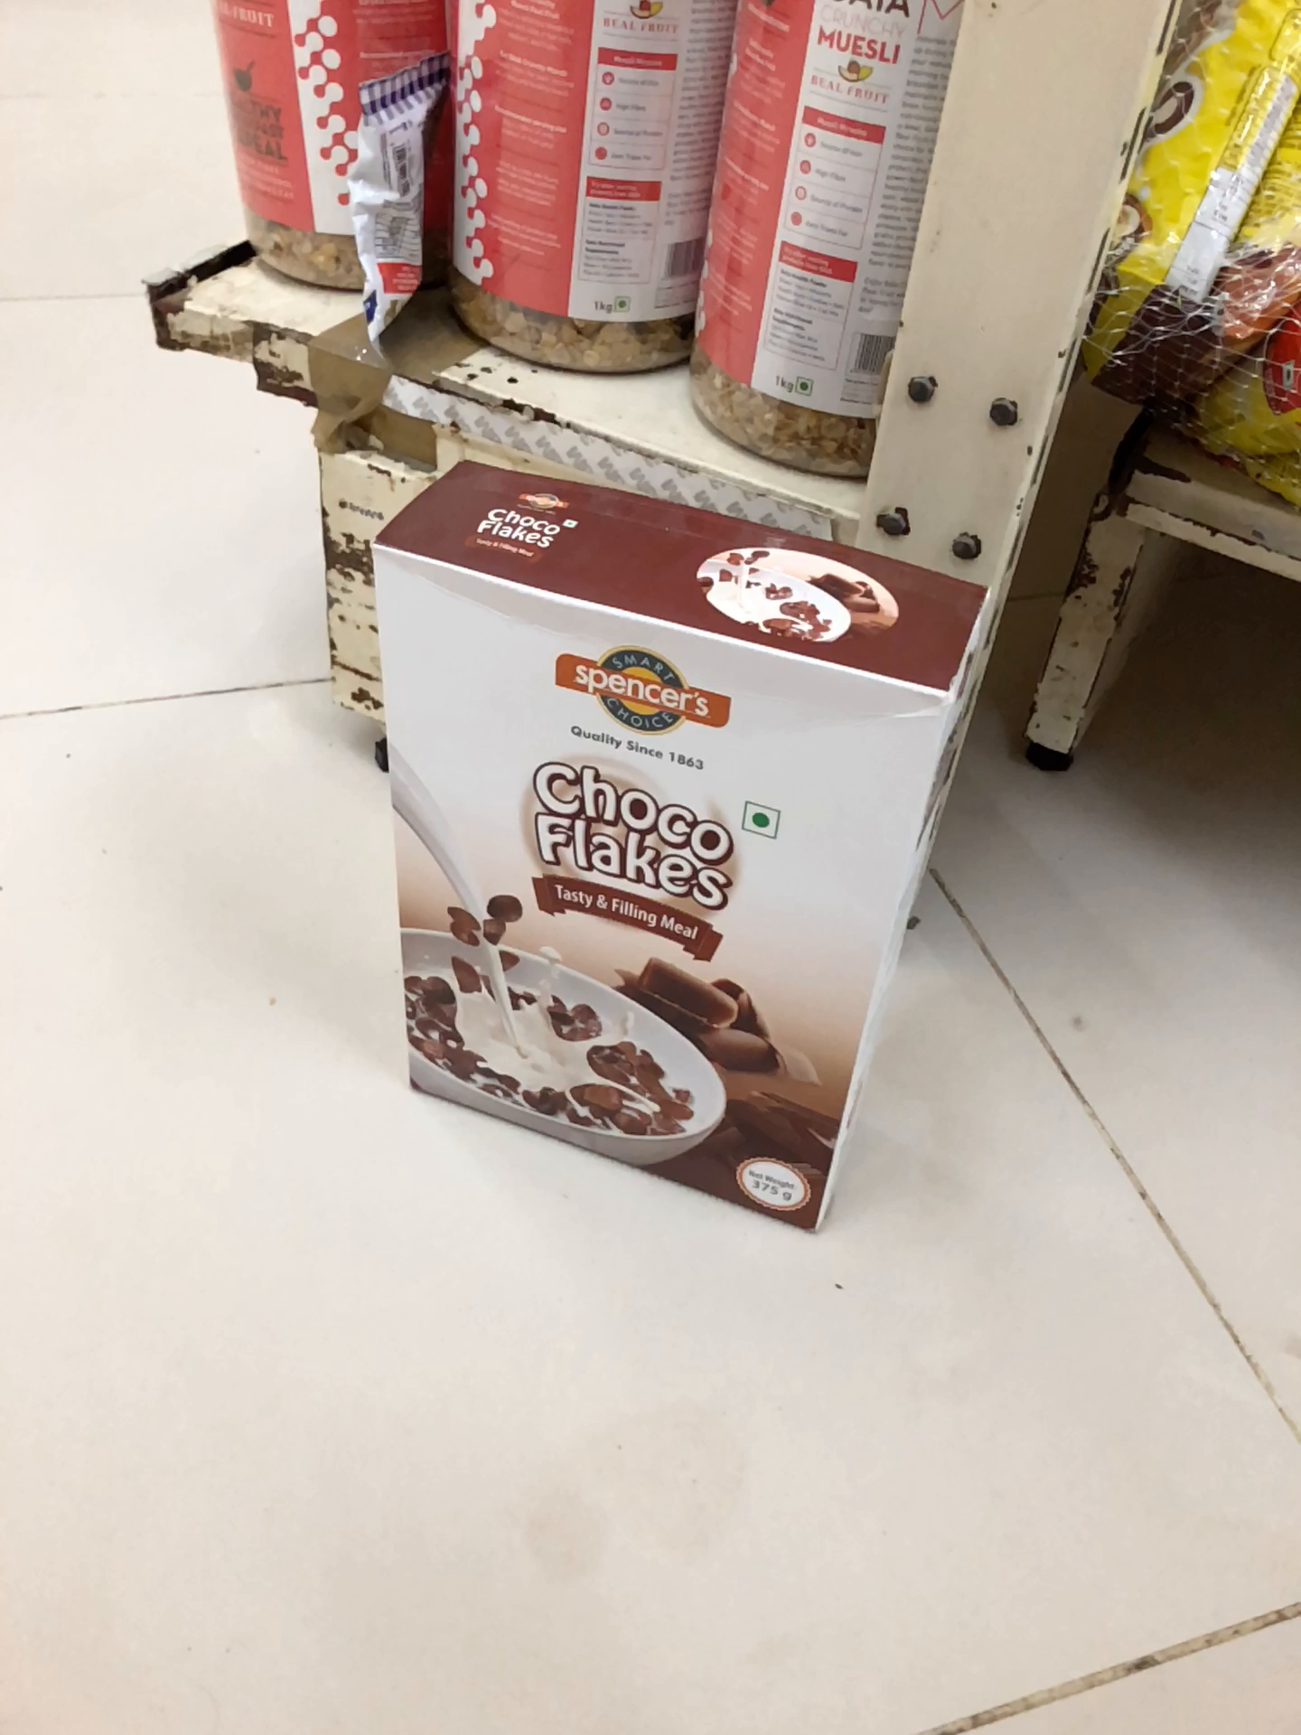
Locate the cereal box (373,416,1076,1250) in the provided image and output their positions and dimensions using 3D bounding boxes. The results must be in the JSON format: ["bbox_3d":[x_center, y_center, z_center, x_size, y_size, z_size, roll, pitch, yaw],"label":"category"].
[{"bbox_3d":[0.014,0.000,0.491,0.190,0.258,0.060,17,43,14],"label":"cereal box"}]
